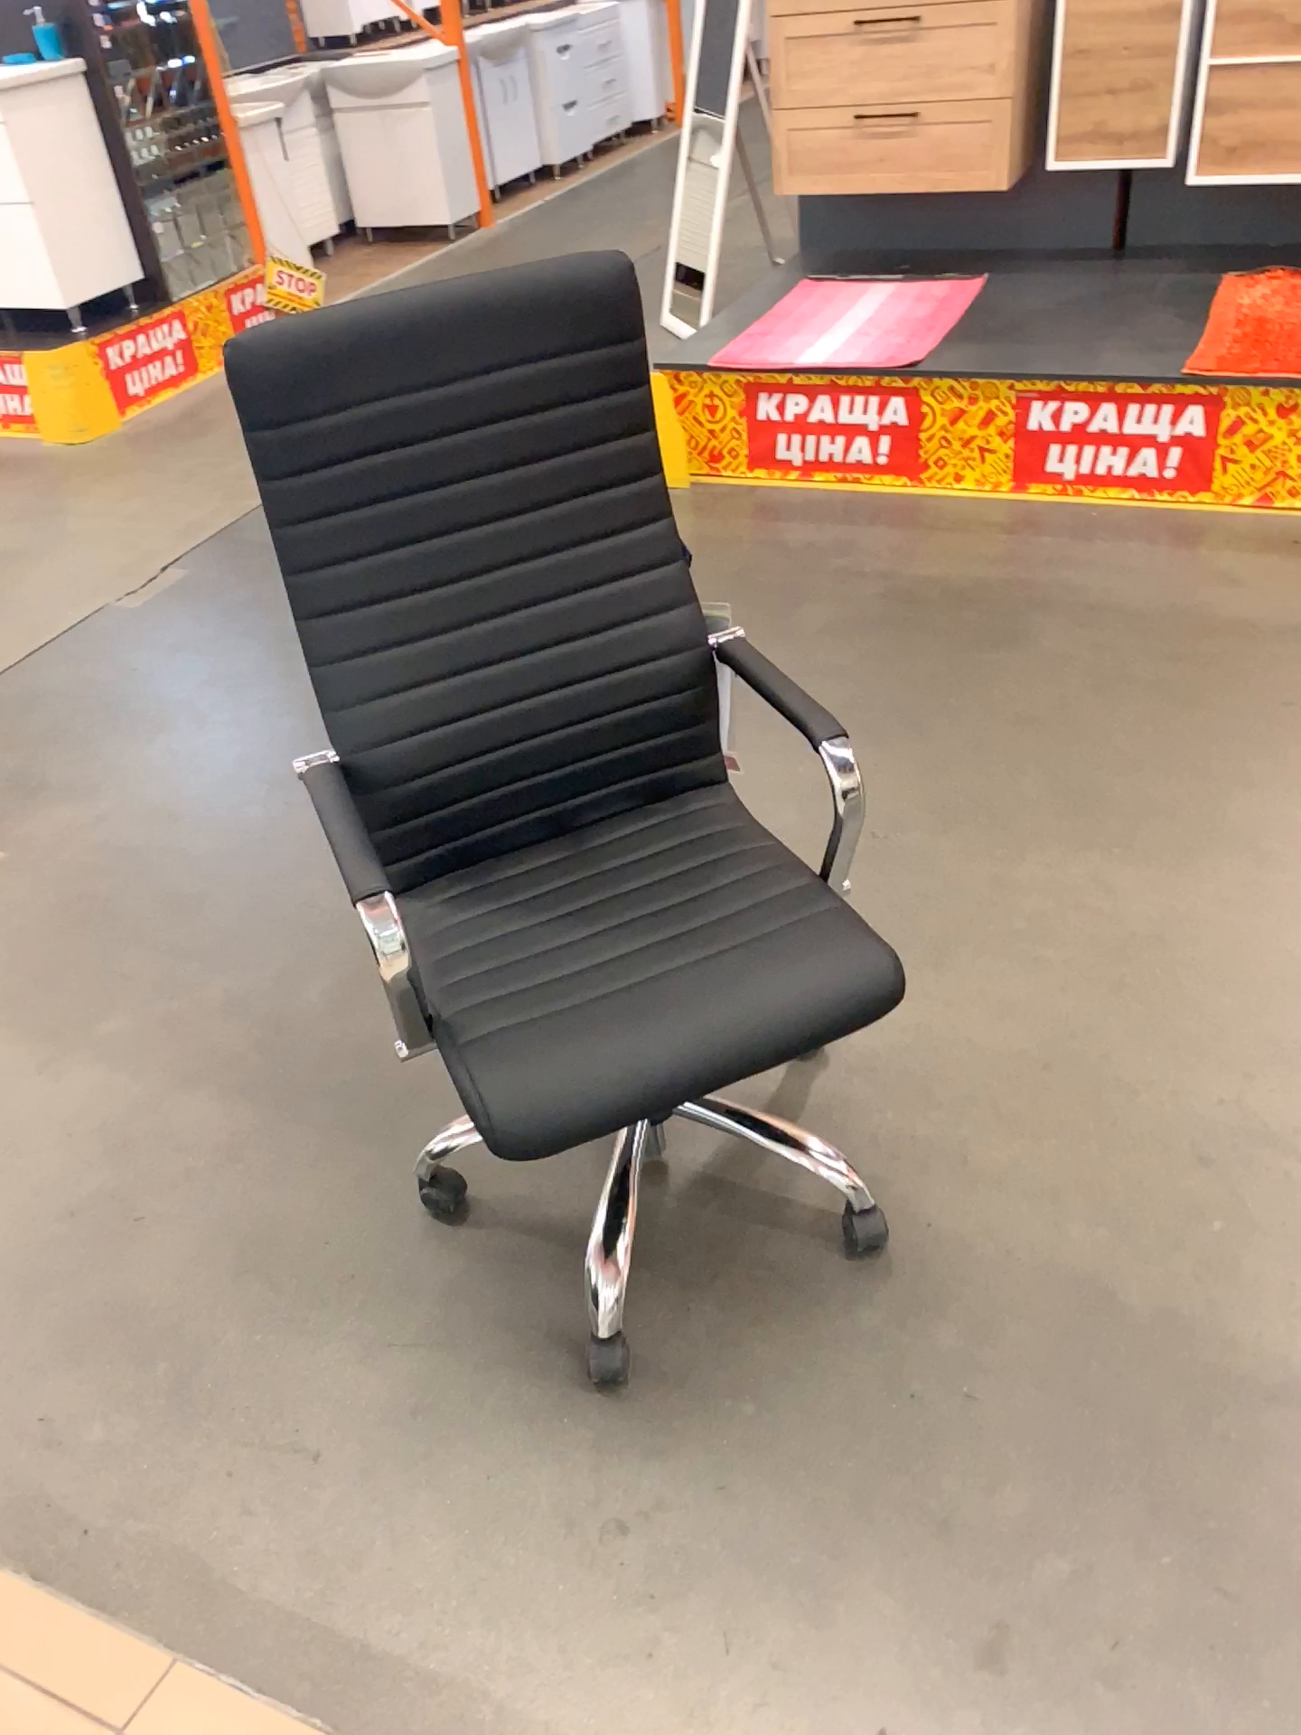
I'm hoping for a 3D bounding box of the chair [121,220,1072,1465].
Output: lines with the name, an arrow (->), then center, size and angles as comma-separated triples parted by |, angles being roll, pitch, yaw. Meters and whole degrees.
chair -> -0.052, -0.044, 1.508 | 0.650, 1.075, 0.683 | -20, 38, -16
